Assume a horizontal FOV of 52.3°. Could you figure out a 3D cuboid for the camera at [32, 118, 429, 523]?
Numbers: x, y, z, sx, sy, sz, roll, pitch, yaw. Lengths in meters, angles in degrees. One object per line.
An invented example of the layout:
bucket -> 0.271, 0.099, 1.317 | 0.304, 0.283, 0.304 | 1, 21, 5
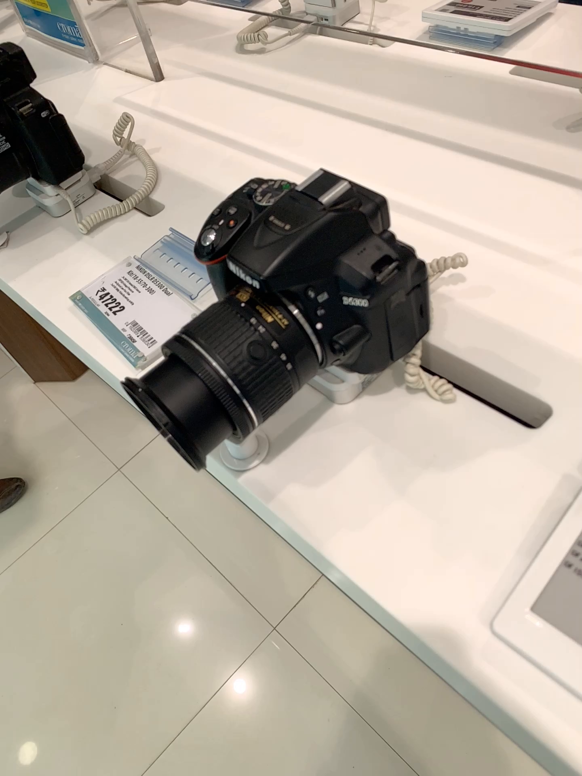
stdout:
camera -> -0.020, -0.038, 0.302 | 0.140, 0.110, 0.110 | -40, 54, -17
